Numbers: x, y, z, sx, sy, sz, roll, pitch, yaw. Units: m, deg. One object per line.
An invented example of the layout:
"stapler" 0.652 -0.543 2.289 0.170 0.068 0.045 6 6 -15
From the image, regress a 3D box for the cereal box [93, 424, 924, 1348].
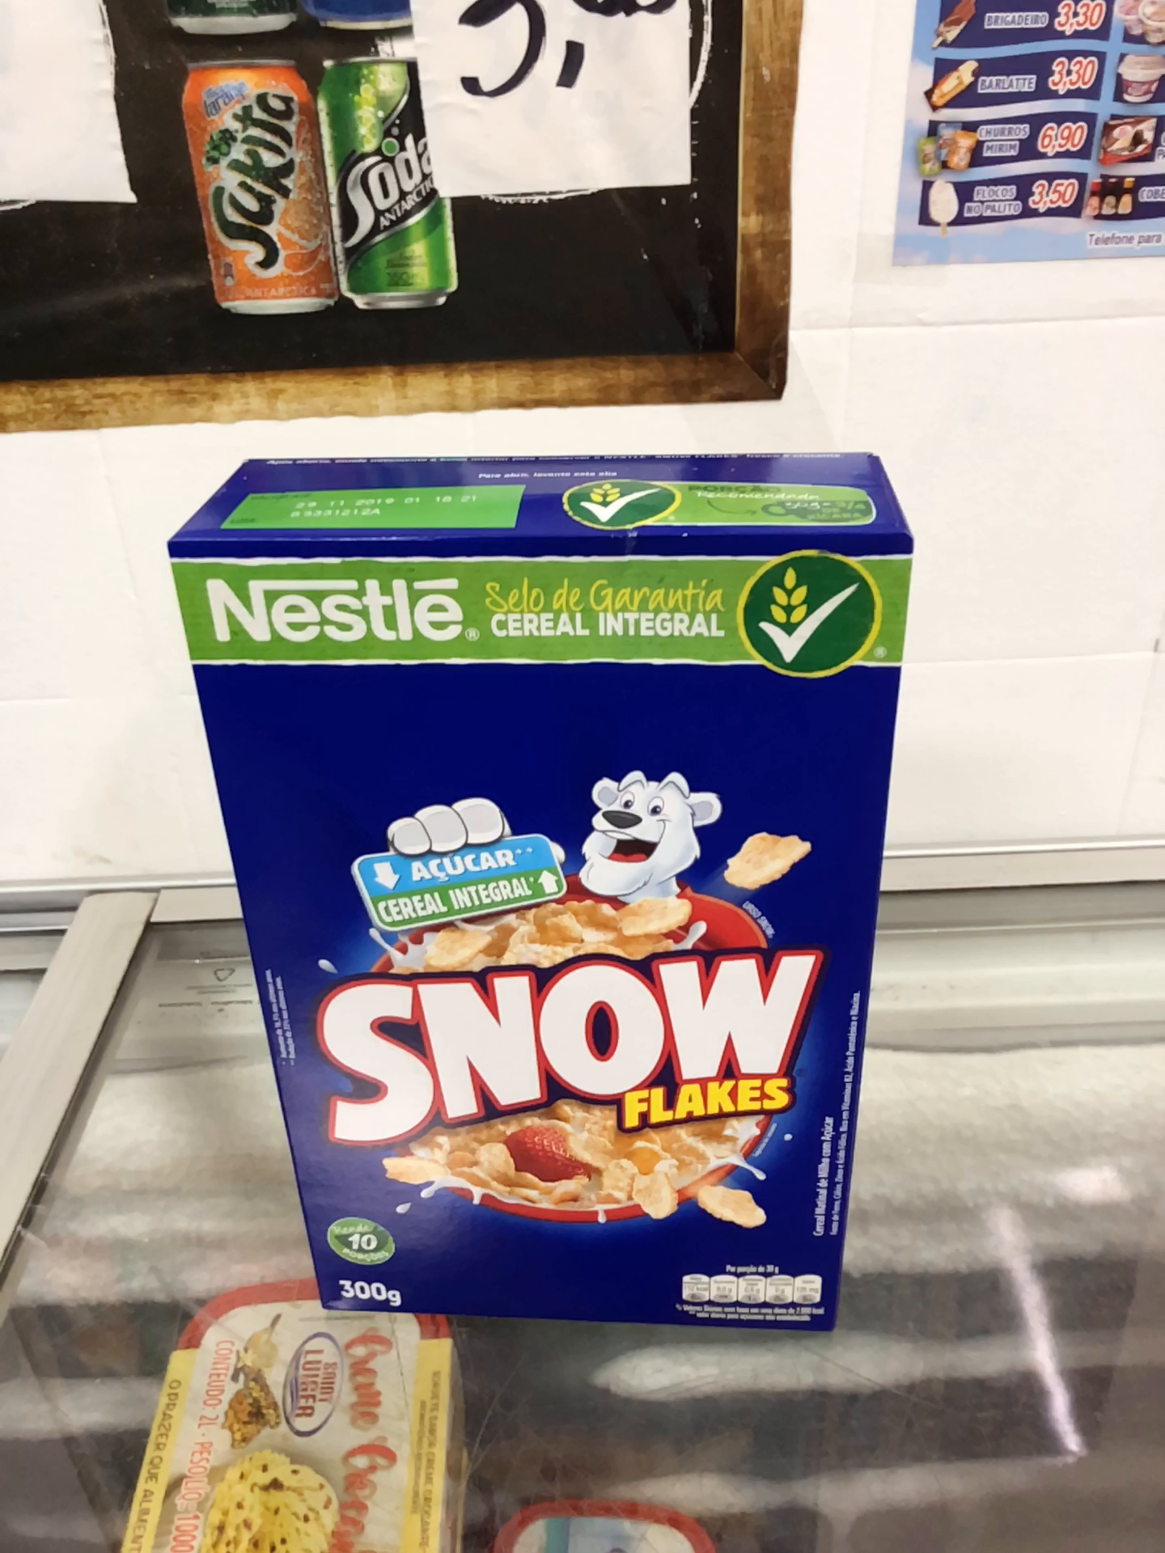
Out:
"cereal box" -0.011 0.042 0.358 0.170 0.258 0.070 1 31 5
